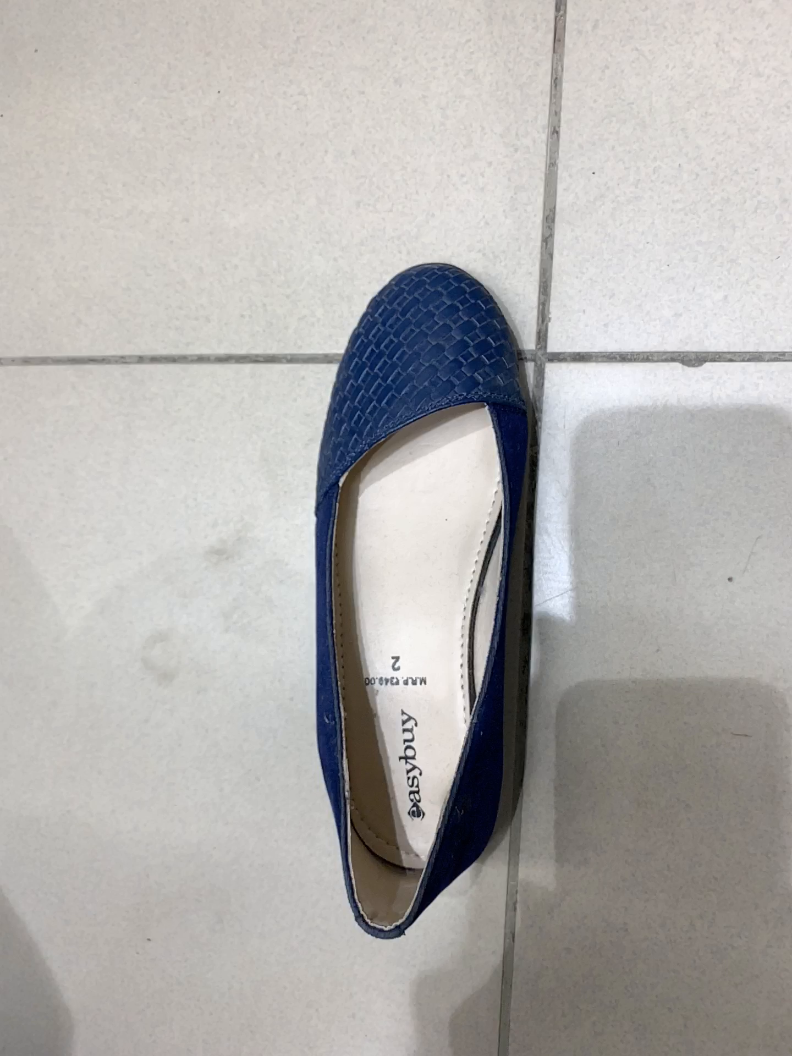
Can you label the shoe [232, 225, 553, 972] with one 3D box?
[{"bbox_3d":[0.001,0.022,0.285,0.090,0.060,0.220,-2,89,18],"label":"shoe"}]
